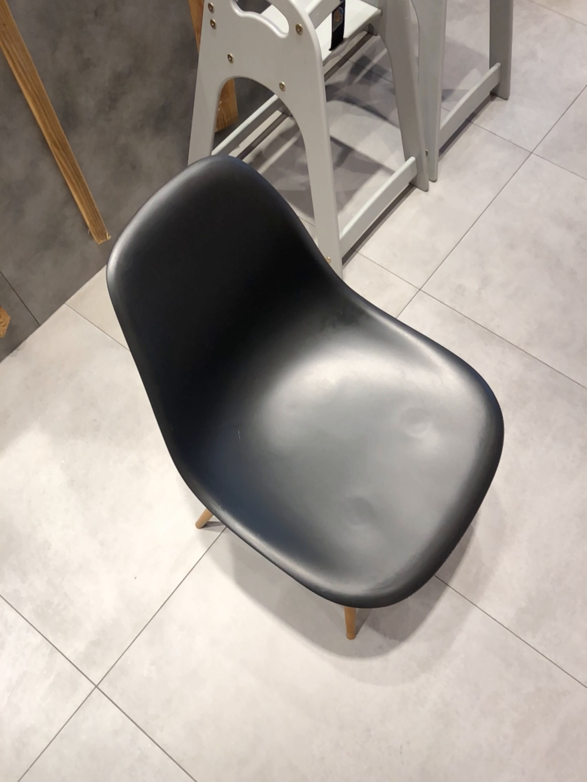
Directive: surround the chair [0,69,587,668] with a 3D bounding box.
[{"bbox_3d":[0.047,0.050,1.073,0.564,0.760,0.509,32,69,14],"label":"chair"}]
